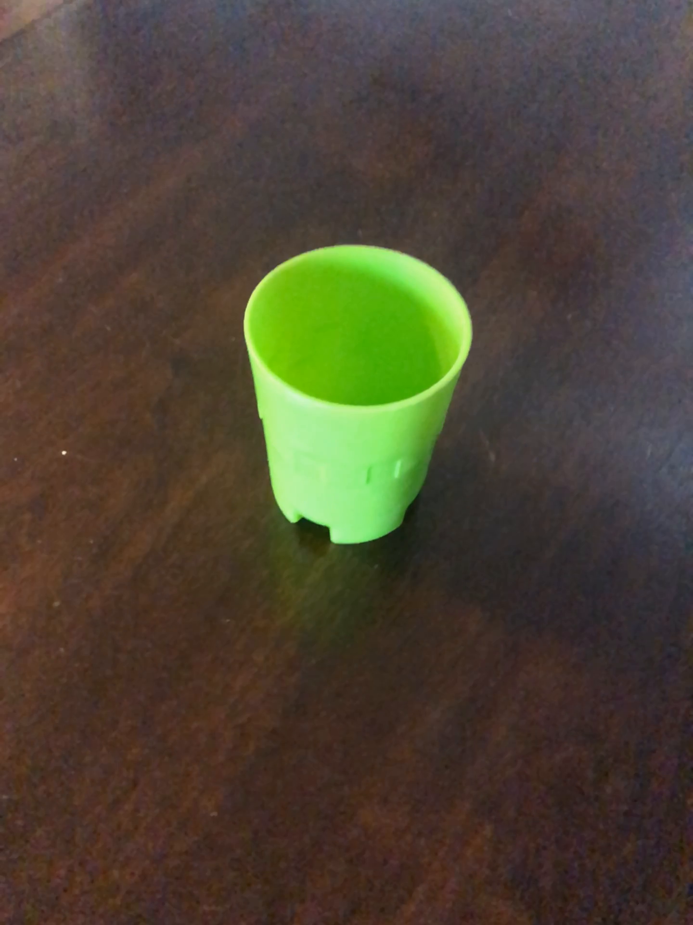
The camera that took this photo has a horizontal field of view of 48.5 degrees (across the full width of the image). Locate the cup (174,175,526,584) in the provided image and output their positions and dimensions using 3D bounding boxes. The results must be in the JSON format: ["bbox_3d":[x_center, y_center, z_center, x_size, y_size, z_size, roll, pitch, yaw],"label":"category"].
[{"bbox_3d":[0.000,-0.025,0.253,0.070,0.090,0.070,1,55,-2],"label":"cup"}]
